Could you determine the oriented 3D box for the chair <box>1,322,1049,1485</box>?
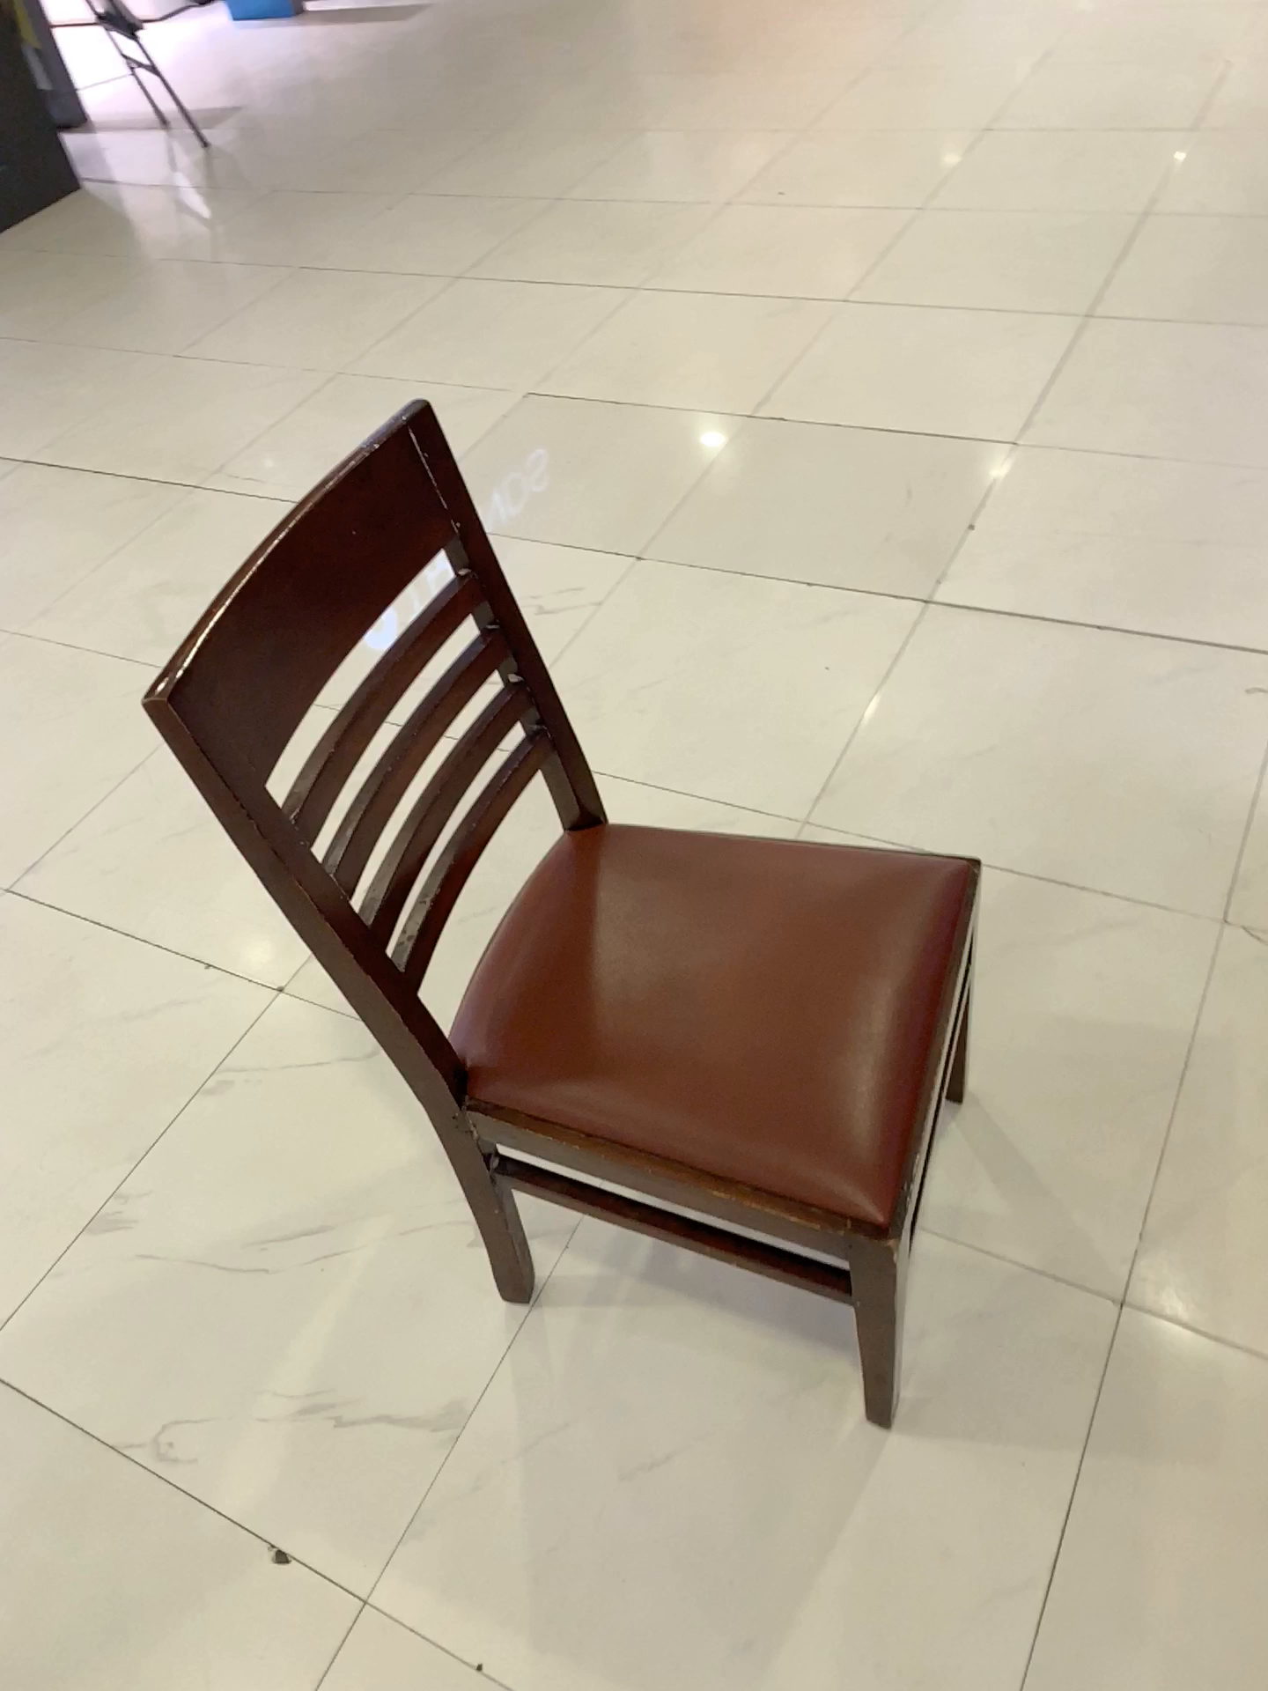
[{"bbox_3d":[0.022,0.050,1.134,0.541,0.784,0.563,8,47,20],"label":"chair"}]
